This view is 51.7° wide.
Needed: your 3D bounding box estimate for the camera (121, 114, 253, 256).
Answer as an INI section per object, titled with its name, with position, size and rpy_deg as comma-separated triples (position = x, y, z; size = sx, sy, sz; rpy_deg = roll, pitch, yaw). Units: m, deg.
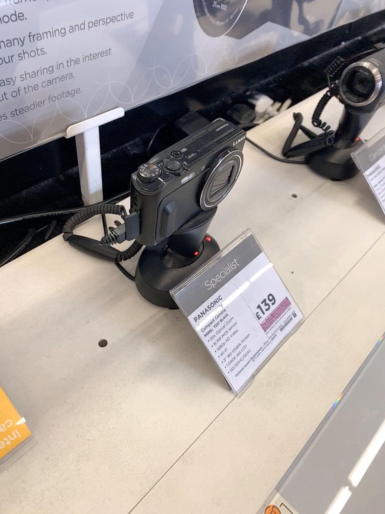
[camera]
position = -0.004, -0.057, 0.306
size = 0.030, 0.059, 0.111
rpy_deg = 37, 54, 19
